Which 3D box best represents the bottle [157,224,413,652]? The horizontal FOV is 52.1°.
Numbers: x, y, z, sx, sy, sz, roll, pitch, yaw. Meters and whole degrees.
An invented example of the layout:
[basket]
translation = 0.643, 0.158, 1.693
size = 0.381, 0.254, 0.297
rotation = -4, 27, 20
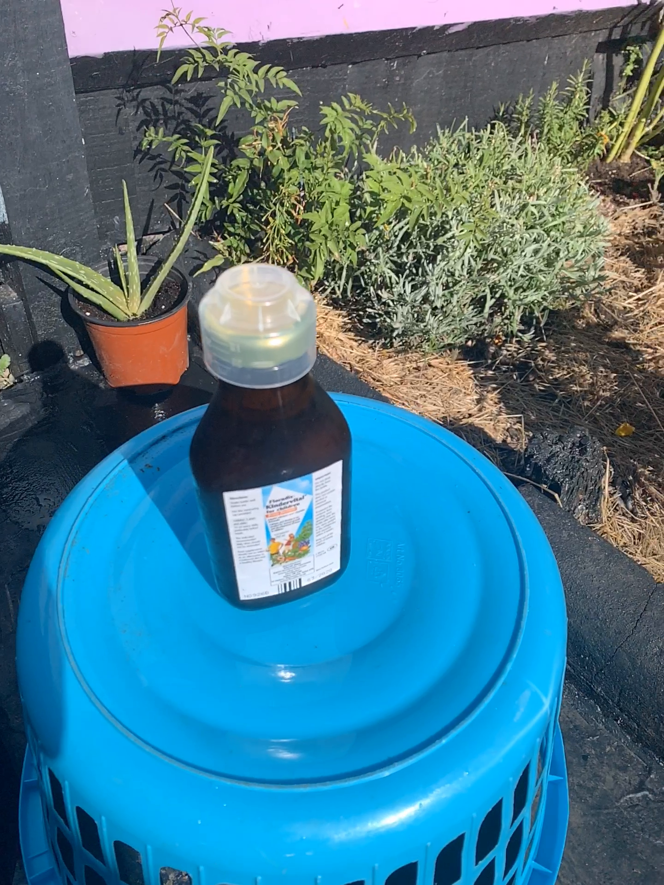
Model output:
[bottle]
translation = -0.025, 0.009, 0.310
size = 0.080, 0.198, 0.050
rotation = -12, 45, -19
